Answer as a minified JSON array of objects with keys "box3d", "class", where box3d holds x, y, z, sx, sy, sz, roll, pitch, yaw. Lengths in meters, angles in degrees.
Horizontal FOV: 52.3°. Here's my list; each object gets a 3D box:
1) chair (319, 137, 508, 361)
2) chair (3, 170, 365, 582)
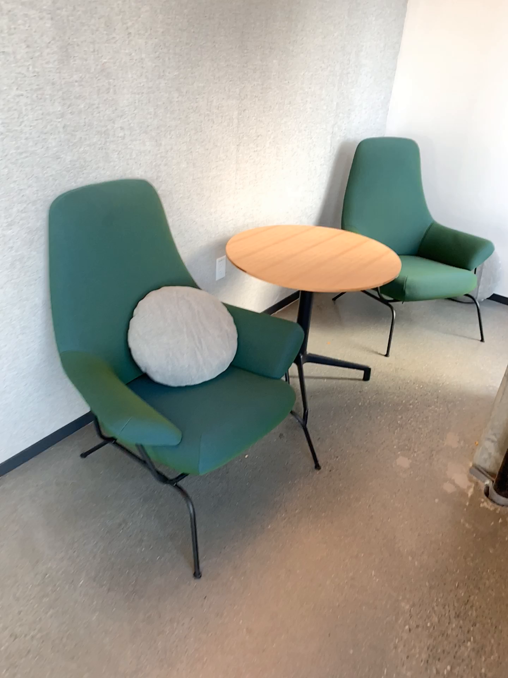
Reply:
[{"box3d":[0.891,-0.546,2.933,0.650,1.014,0.754,-7,30,-20],"class":"chair"},{"box3d":[-0.232,0.033,1.820,0.843,0.994,0.722,24,35,34],"class":"chair"}]
